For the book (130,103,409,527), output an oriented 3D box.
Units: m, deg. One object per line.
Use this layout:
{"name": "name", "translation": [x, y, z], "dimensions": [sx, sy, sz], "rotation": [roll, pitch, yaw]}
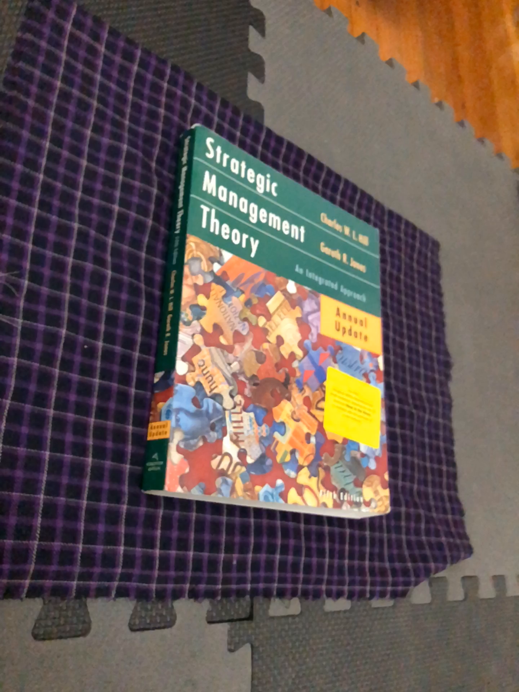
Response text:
{"name": "book", "translation": [0.030, -0.011, 0.459], "dimensions": [0.231, 0.040, 0.280], "rotation": [19, 66, -37]}
